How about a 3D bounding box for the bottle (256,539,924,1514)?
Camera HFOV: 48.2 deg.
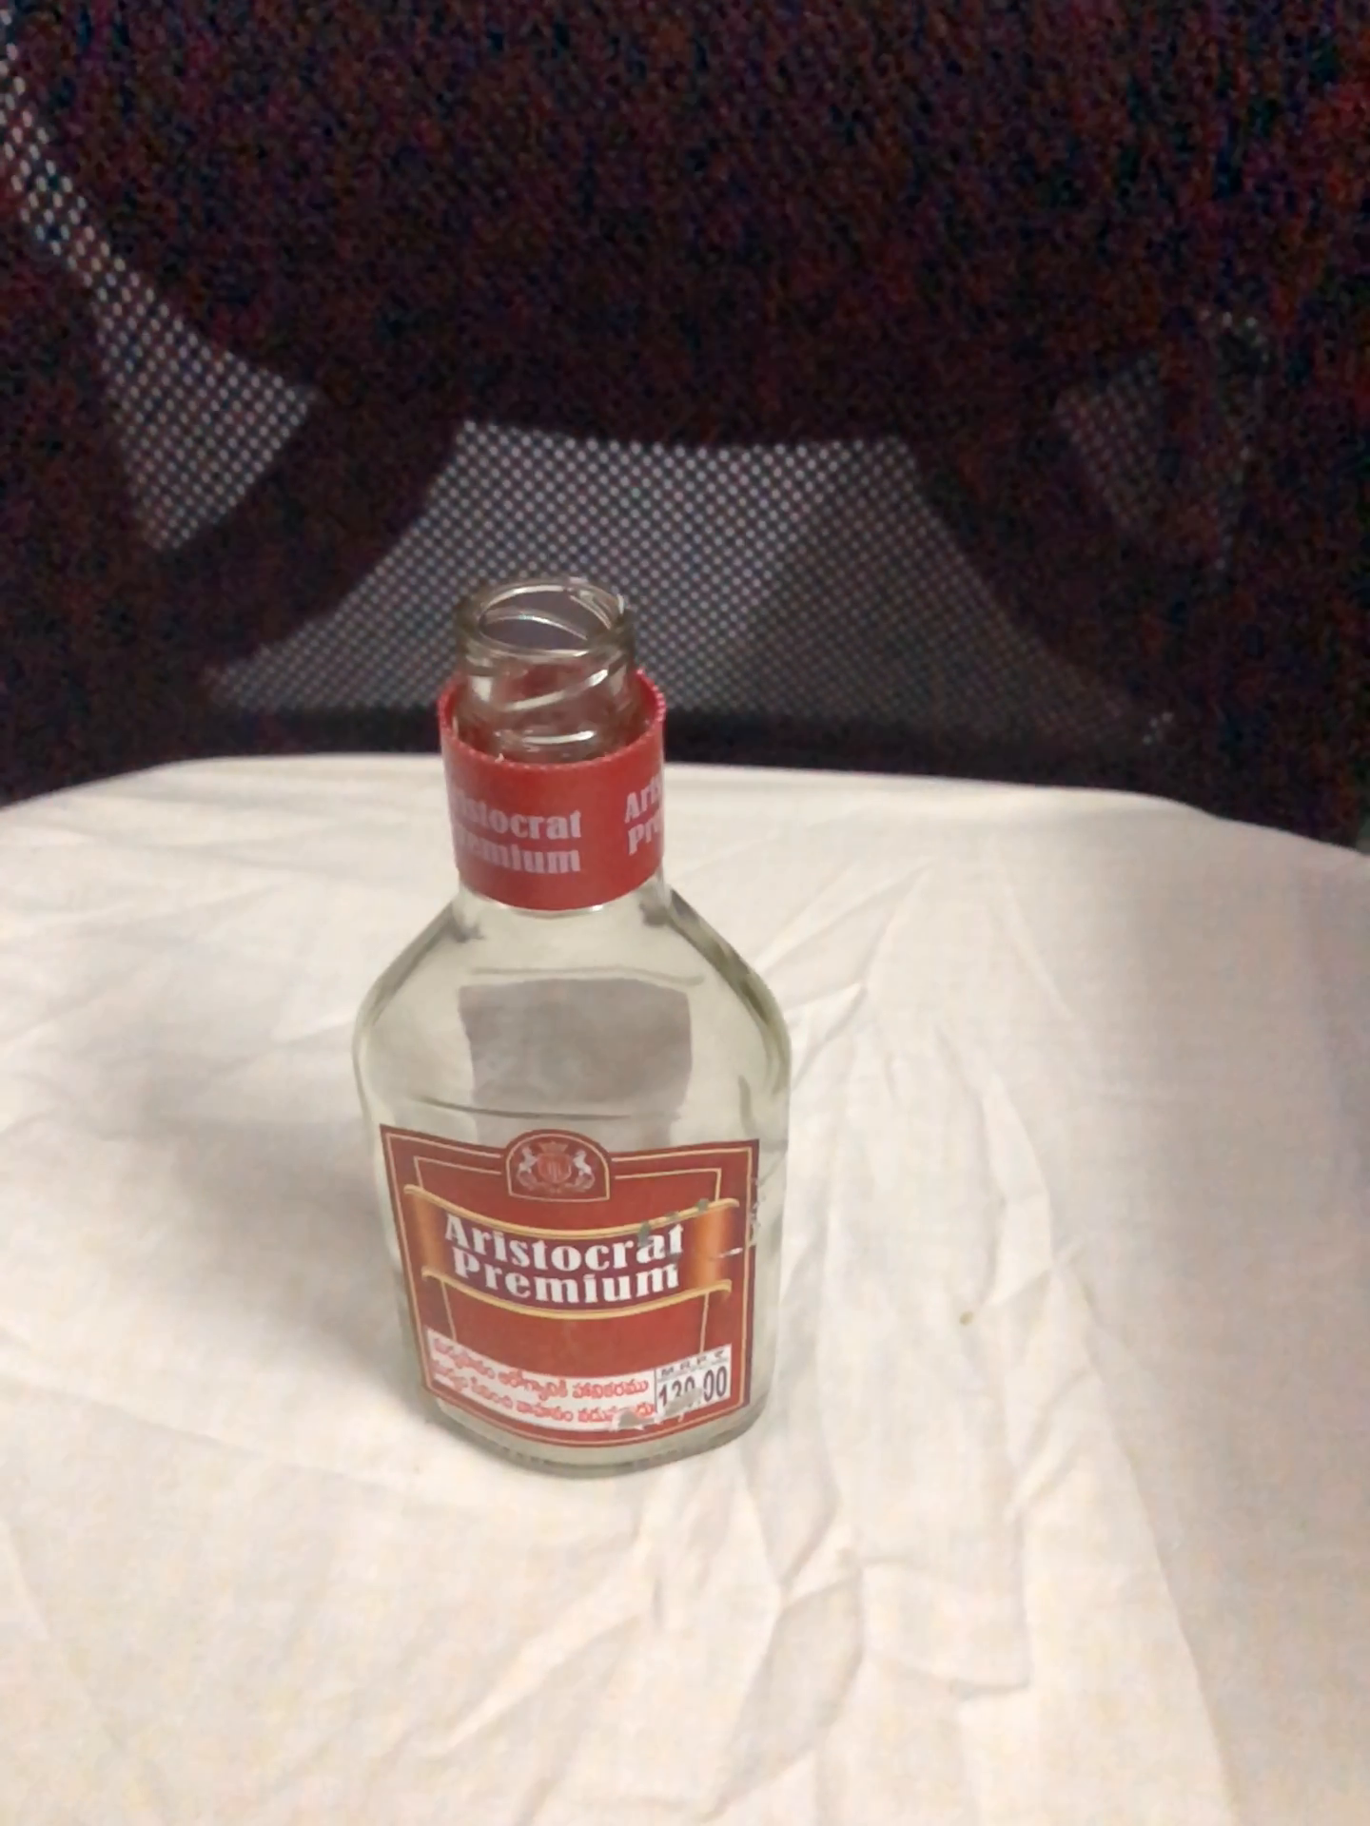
[{"bbox_3d":[-0.013,0.032,0.255,0.080,0.179,0.040,3,39,1],"label":"bottle"}]
